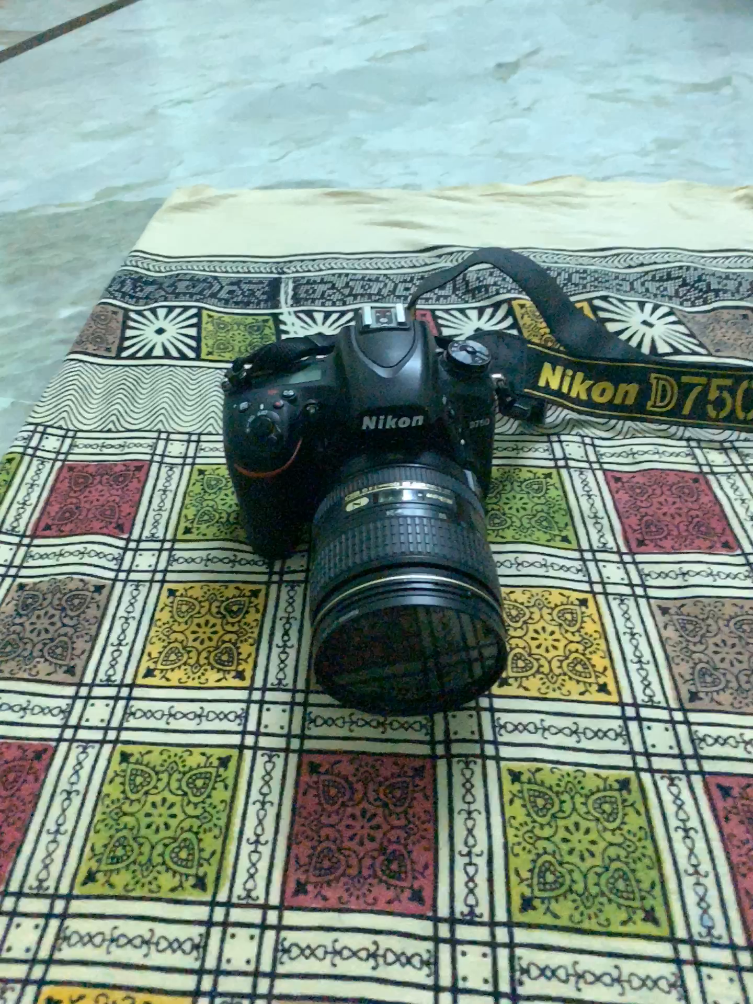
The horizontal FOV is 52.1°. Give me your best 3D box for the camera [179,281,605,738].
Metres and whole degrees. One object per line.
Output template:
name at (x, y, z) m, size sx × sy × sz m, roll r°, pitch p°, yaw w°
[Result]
camera at (0.004, -0.007, 0.356) m, size 0.140 × 0.100 × 0.191 m, roll -4°, pitch 42°, yaw 1°
